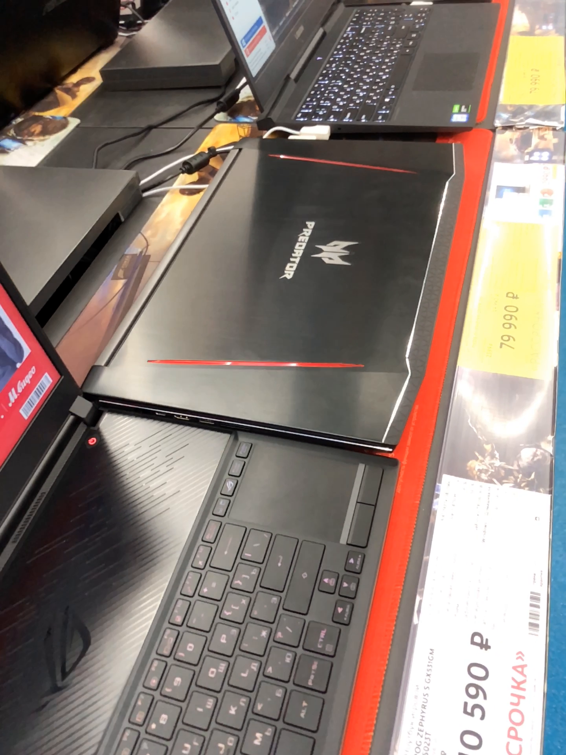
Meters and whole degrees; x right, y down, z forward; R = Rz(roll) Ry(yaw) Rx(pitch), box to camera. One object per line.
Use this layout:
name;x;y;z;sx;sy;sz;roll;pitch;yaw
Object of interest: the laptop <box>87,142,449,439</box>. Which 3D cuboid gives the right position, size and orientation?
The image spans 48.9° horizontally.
laptop;0.011;-0.114;0.562;0.228;0.004;0.379;7;50;17
